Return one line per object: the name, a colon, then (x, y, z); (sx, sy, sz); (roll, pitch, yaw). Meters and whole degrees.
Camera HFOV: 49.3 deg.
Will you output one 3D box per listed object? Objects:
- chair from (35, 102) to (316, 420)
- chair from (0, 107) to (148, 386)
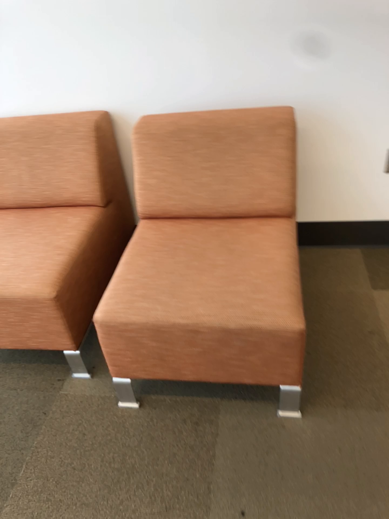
chair: (0.045, -0.053, 1.603); (0.694, 0.759, 0.926); (0, 35, 11)
chair: (-0.747, -0.099, 1.876); (0.764, 0.809, 0.936); (-1, 35, 10)
